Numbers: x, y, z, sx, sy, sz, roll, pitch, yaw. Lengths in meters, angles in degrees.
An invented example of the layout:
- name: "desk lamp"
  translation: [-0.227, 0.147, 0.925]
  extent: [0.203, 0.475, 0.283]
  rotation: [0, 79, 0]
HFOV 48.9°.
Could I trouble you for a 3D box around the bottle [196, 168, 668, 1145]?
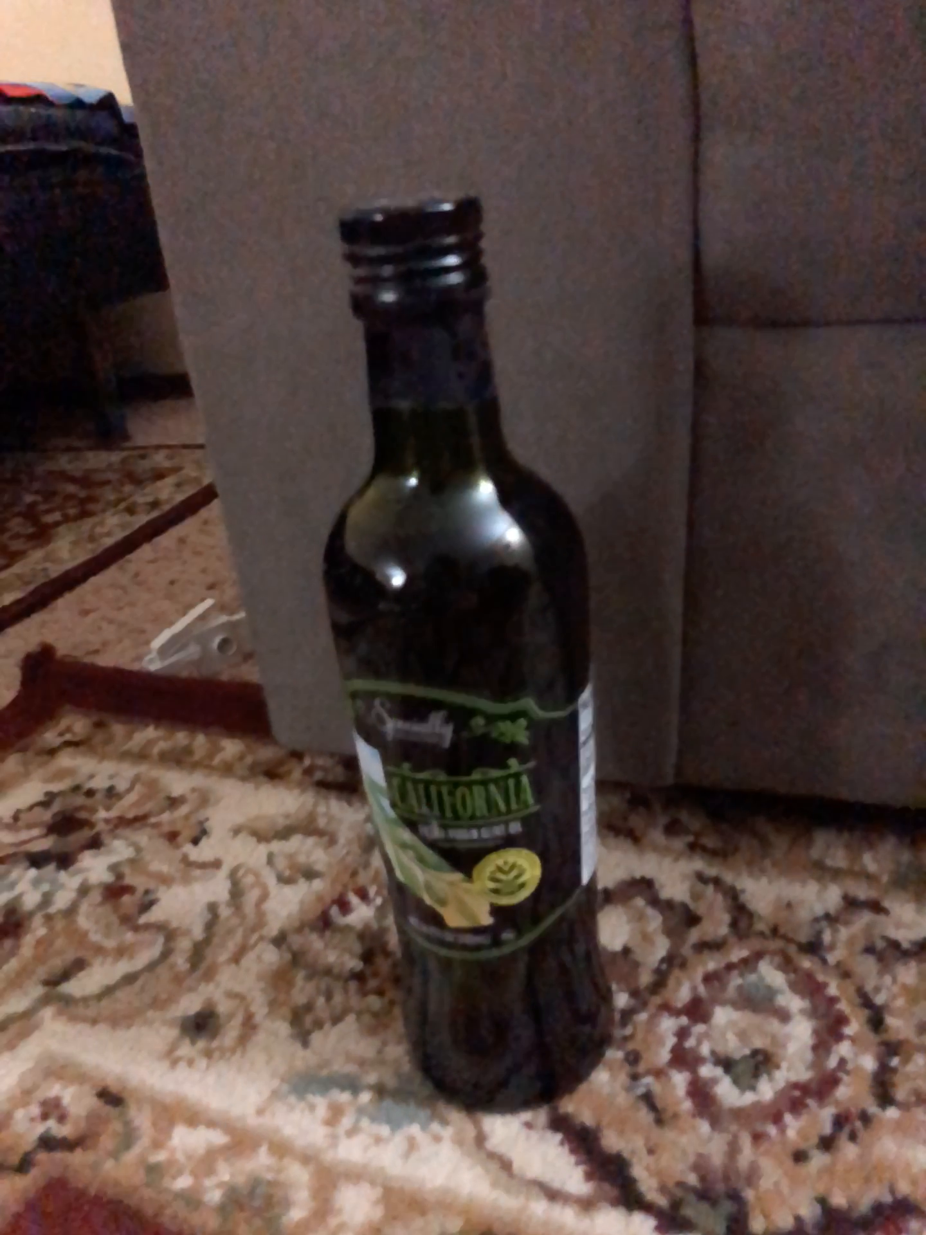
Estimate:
- name: "bottle"
  translation: [0.006, 0.019, 0.290]
  extent: [0.080, 0.259, 0.070]
  rotation: [2, 25, 22]
